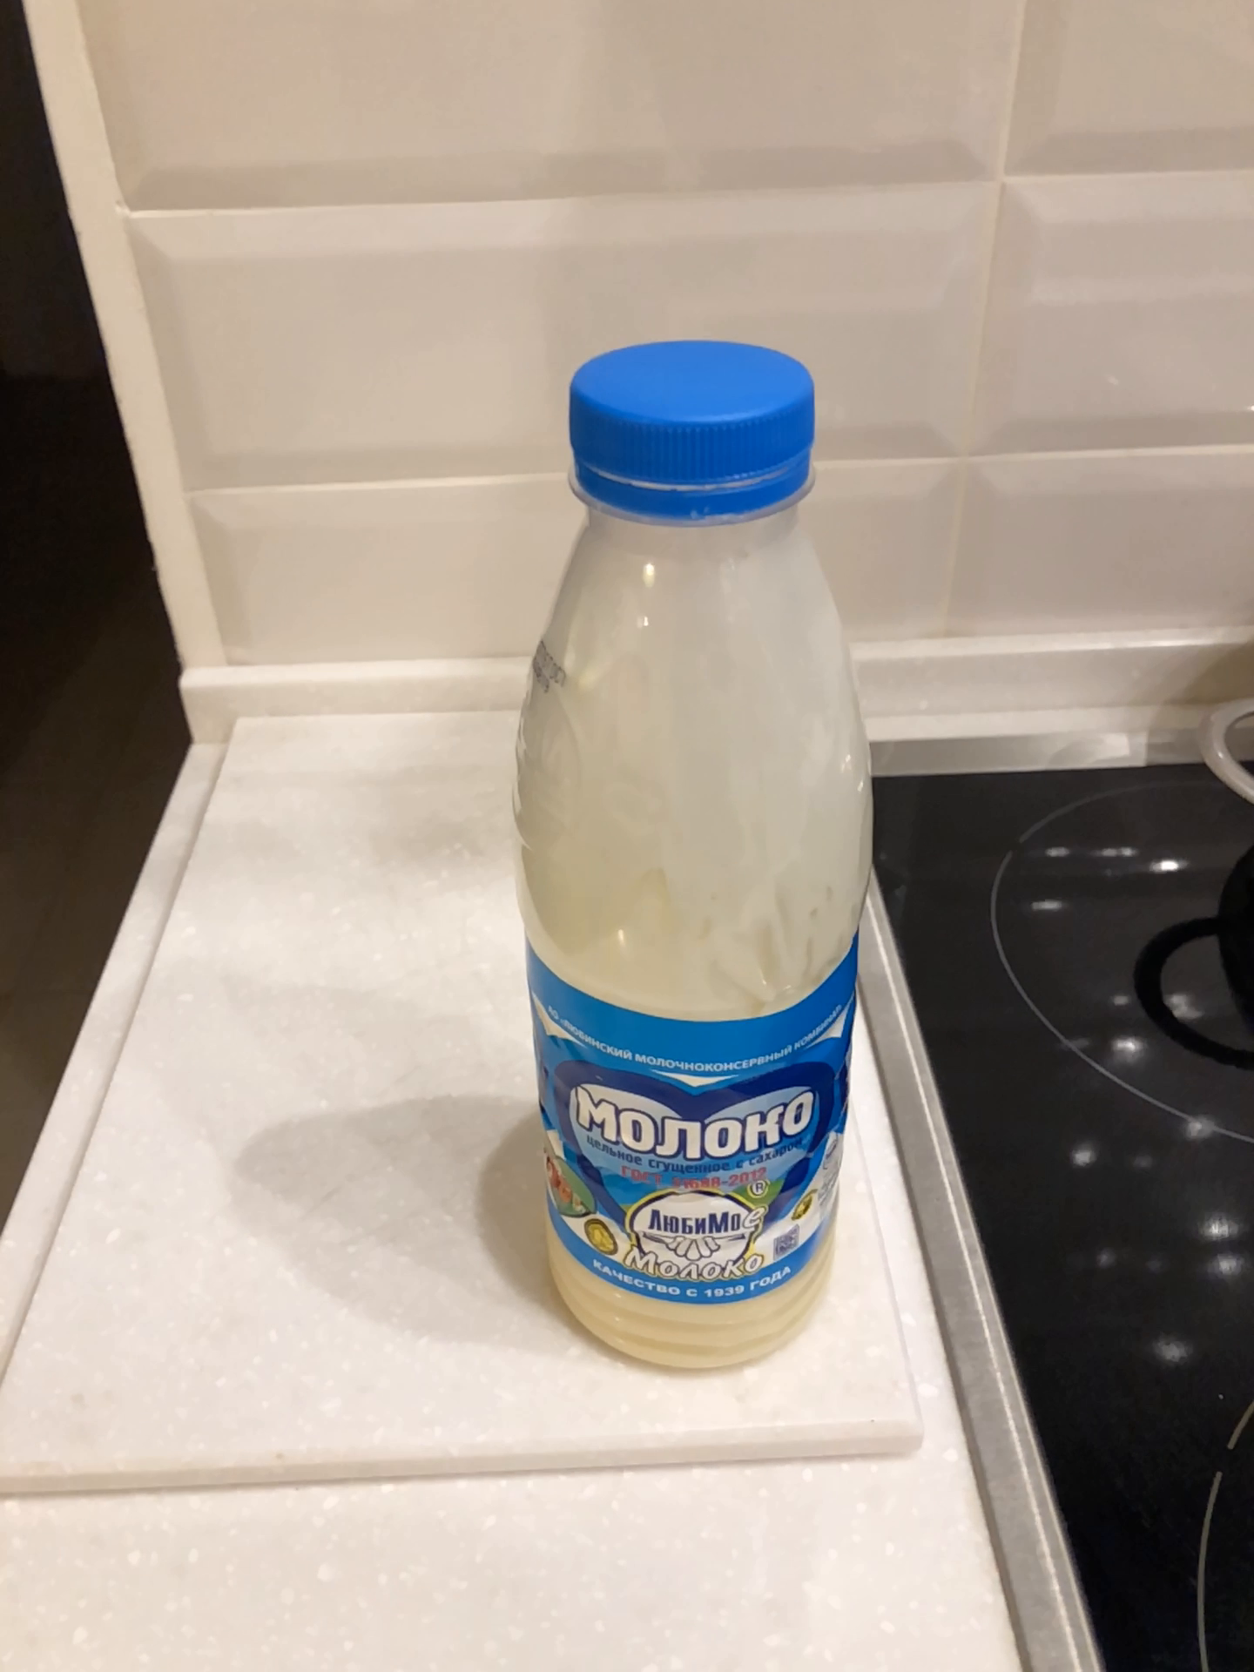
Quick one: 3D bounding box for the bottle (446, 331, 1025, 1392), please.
[{"bbox_3d":[0.016,0.017,0.287,0.080,0.213,0.081,-1,37,1],"label":"bottle"}]
